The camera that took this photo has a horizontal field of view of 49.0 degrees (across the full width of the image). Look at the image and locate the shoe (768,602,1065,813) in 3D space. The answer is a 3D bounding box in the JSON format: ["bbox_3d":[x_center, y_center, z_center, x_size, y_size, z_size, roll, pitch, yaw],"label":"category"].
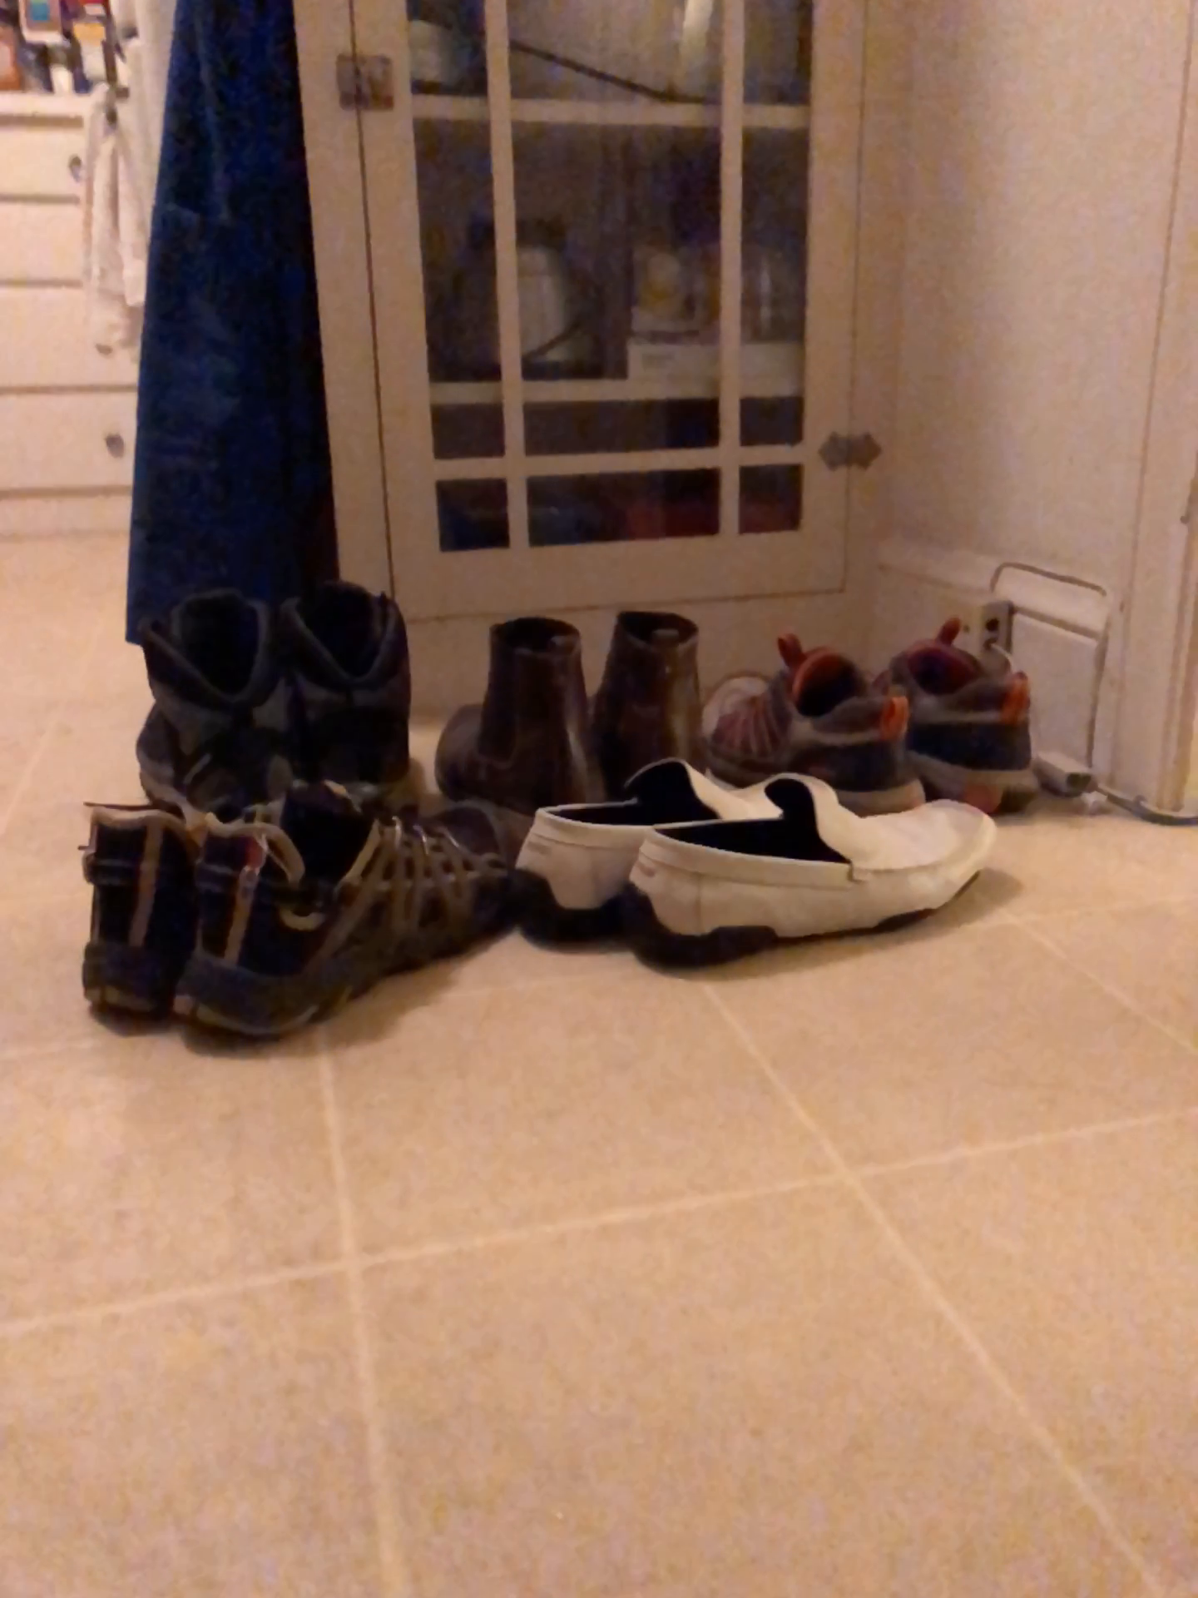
[{"bbox_3d":[0.273,-0.095,1.200,0.110,0.113,0.314,-7,19,-17],"label":"shoe"}]

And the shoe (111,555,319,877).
[{"bbox_3d":[-0.334,-0.087,1.120,0.110,0.192,0.324,-8,19,-22],"label":"shoe"}]

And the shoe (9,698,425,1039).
[{"bbox_3d":[-0.236,0.030,0.884,0.110,0.123,0.294,5,19,19],"label":"shoe"}]

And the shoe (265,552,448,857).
[{"bbox_3d":[-0.224,-0.100,1.175,0.110,0.192,0.324,-6,19,-16],"label":"shoe"}]

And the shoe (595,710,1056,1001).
[{"bbox_3d":[0.156,0.027,0.893,0.304,0.113,0.110,-11,21,-29],"label":"shoe"}]

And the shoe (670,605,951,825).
[{"bbox_3d":[0.171,-0.086,1.161,0.110,0.113,0.314,-7,19,-17],"label":"shoe"}]

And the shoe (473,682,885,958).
[{"bbox_3d":[0.066,0.003,0.964,0.304,0.113,0.110,-16,23,-38],"label":"shoe"}]

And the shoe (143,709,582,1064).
[{"bbox_3d":[-0.136,0.040,0.860,0.110,0.123,0.294,10,21,29],"label":"shoe"}]

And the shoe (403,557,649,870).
[{"bbox_3d":[-0.073,-0.091,1.150,0.110,0.192,0.324,-8,19,-20],"label":"shoe"}]

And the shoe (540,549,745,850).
[{"bbox_3d":[0.028,-0.104,1.181,0.110,0.192,0.325,-4,18,-10],"label":"shoe"}]
